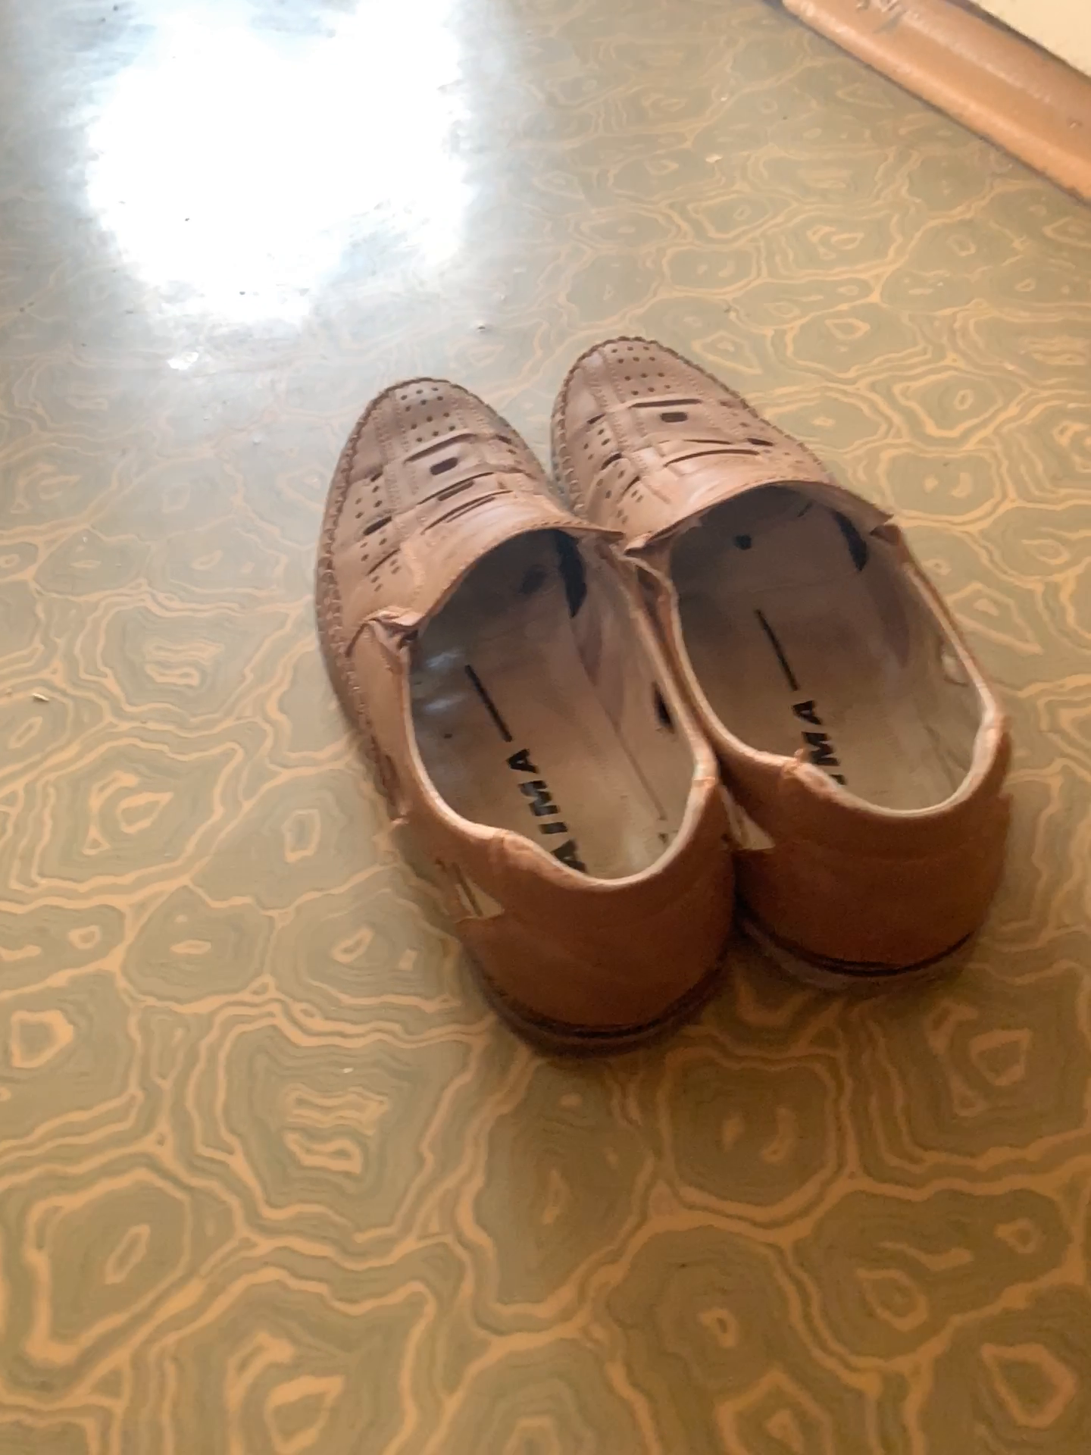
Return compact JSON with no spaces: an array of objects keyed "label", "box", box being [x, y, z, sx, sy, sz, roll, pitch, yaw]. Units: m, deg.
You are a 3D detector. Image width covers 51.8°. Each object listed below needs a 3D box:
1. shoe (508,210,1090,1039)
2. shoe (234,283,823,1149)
[{"label":"shoe","box":[0.077,-0.059,0.381,0.110,0.079,0.292,-13,52,-6]},{"label":"shoe","box":[-0.024,-0.029,0.376,0.100,0.079,0.292,-16,52,-9]}]
